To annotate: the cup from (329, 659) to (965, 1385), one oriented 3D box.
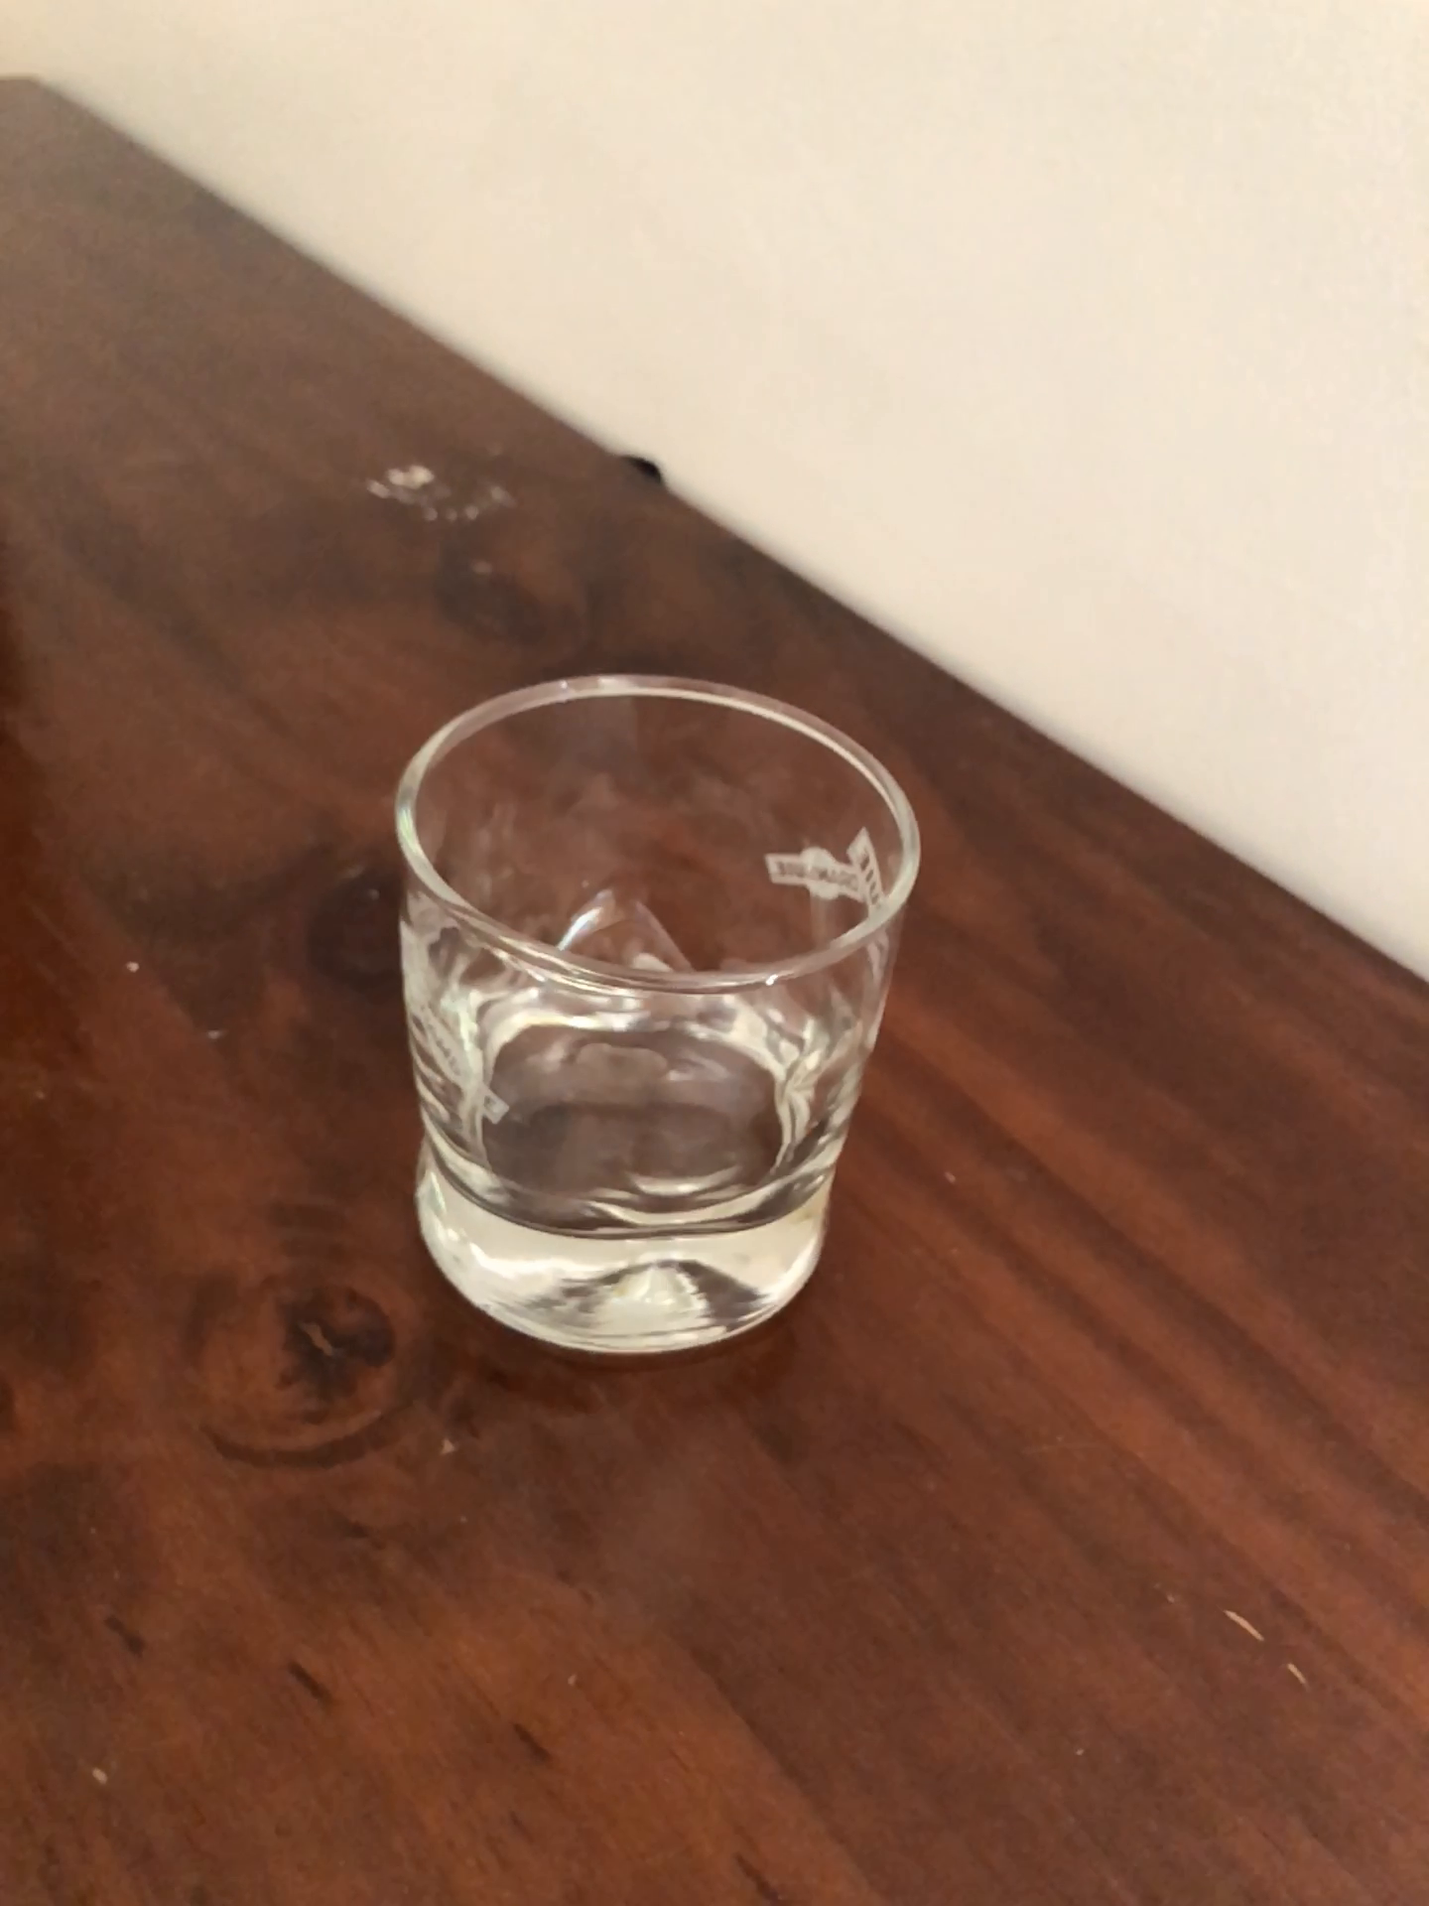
[{"bbox_3d":[-0.015,0.011,0.259,0.081,0.080,0.082,5,40,-4],"label":"cup"}]
